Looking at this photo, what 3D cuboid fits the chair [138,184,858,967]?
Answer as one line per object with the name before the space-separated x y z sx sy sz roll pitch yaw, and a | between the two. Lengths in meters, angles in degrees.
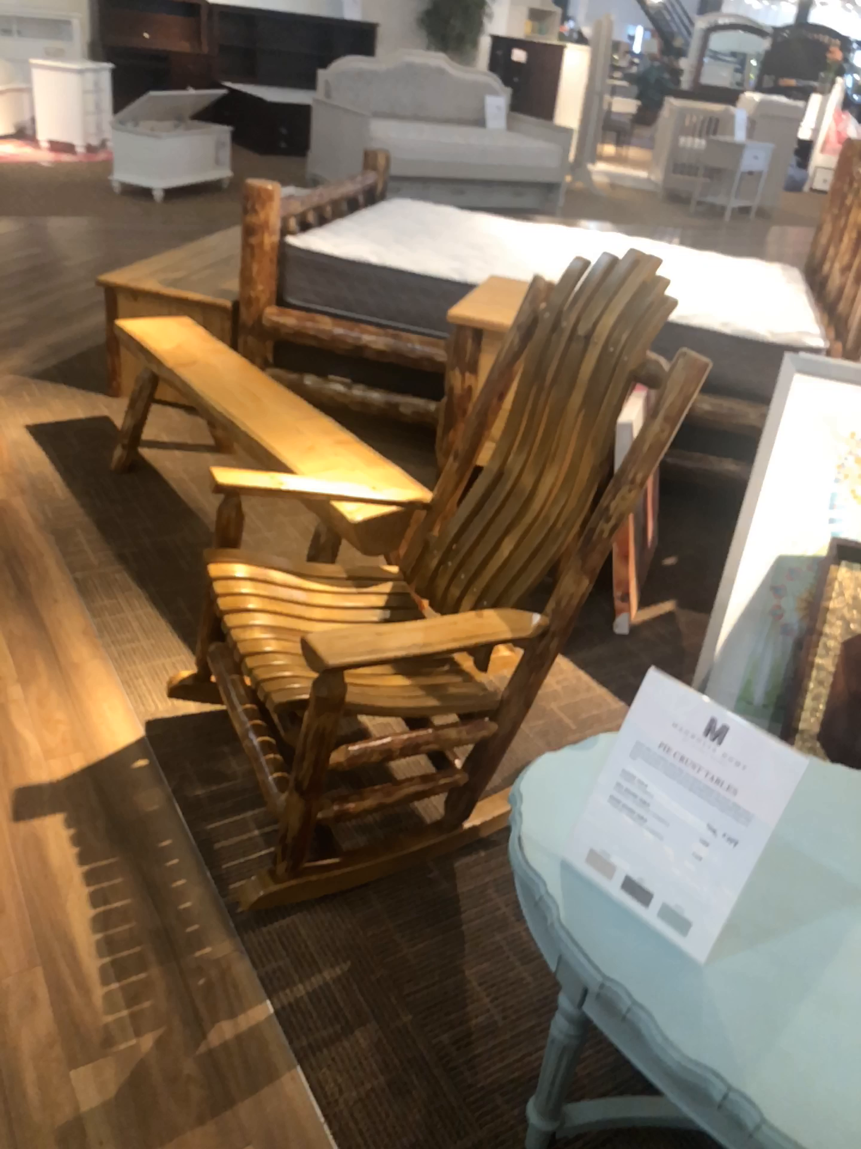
chair | 0.006 -0.056 1.720 0.885 1.048 0.720 -7 33 -25
